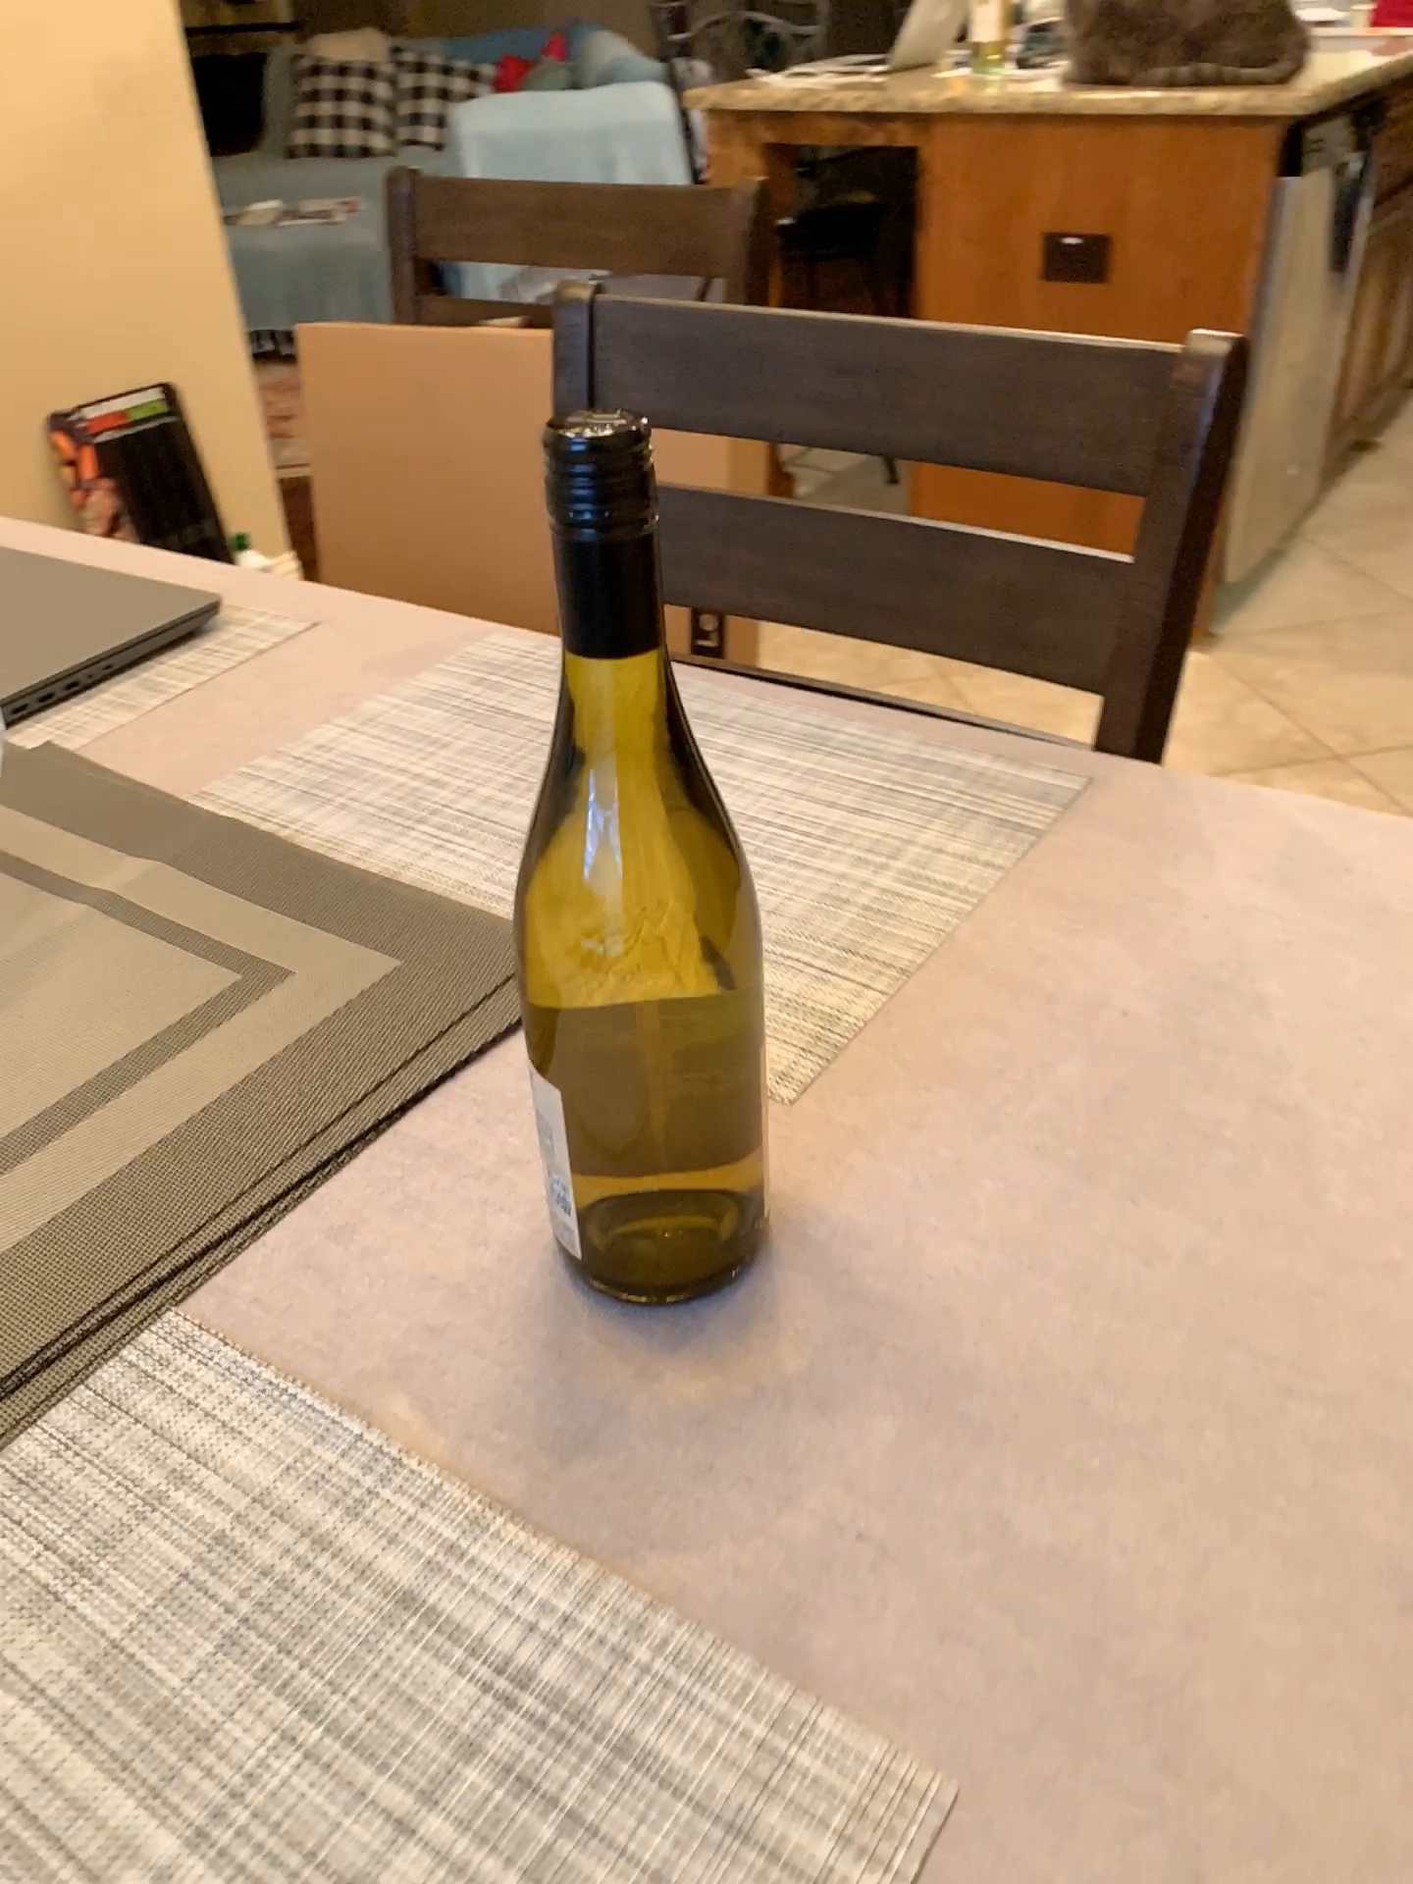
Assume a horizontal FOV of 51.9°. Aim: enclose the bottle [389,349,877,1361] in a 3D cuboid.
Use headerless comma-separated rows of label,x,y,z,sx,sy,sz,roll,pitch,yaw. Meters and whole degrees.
bottle,-0.014,-0.017,0.462,0.090,0.298,0.090,-2,34,1
